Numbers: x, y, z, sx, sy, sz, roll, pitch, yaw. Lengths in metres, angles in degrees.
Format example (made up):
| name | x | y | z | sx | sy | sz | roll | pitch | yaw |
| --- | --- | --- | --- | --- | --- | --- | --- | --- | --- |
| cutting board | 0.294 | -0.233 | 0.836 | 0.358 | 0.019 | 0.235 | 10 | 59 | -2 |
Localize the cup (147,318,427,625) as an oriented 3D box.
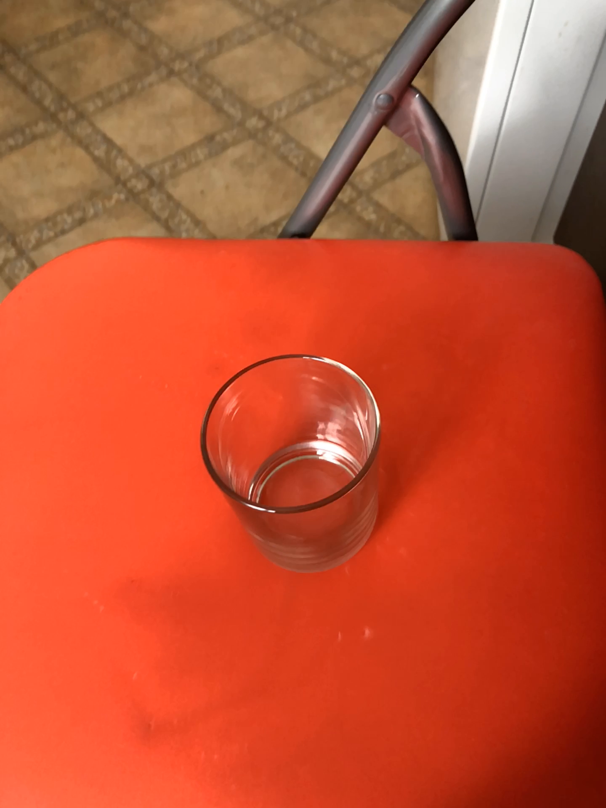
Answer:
| name | x | y | z | sx | sy | sz | roll | pitch | yaw |
| --- | --- | --- | --- | --- | --- | --- | --- | --- | --- |
| cup | -0.004 | 0.031 | 0.297 | 0.080 | 0.082 | 0.078 | -3 | 58 | 4 |
